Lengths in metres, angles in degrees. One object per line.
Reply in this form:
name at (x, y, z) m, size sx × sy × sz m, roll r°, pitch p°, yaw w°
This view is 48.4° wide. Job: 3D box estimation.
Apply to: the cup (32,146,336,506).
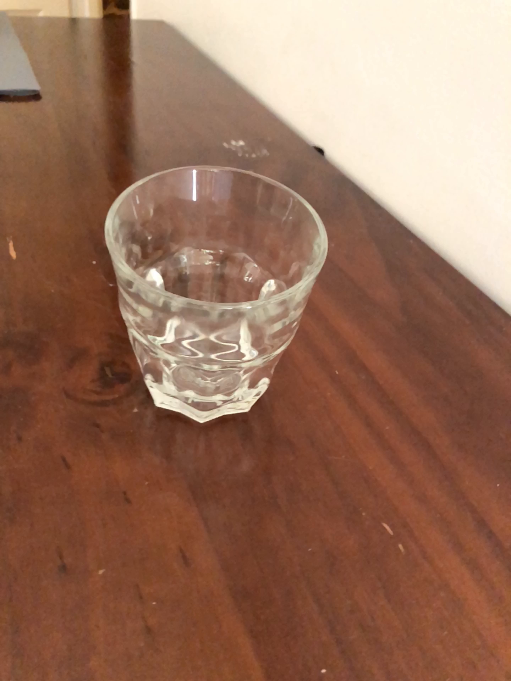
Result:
cup at (-0.021, -0.009, 0.237) m, size 0.090 × 0.095 × 0.101 m, roll 9°, pitch 40°, yaw 1°
